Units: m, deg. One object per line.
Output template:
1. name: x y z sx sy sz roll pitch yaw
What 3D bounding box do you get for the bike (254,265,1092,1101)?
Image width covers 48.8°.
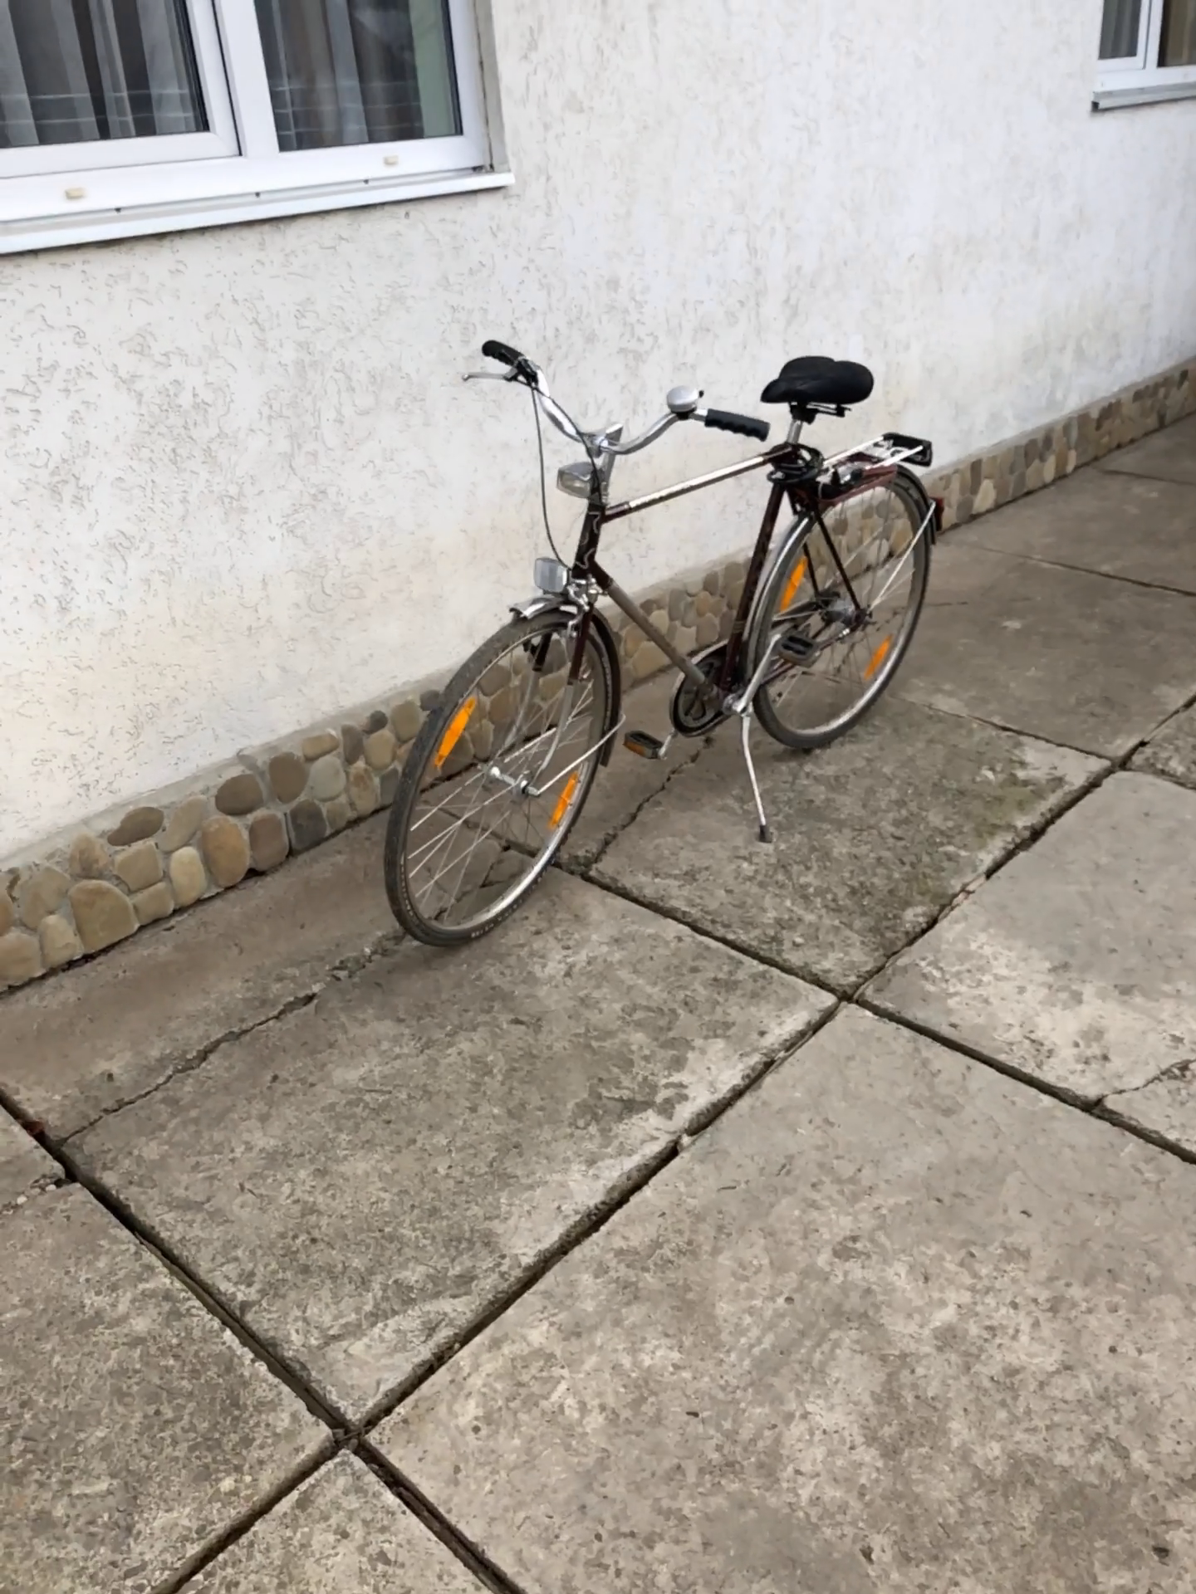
1. bike: 0.280 -0.386 2.662 0.597 1.055 1.718 21 37 38
